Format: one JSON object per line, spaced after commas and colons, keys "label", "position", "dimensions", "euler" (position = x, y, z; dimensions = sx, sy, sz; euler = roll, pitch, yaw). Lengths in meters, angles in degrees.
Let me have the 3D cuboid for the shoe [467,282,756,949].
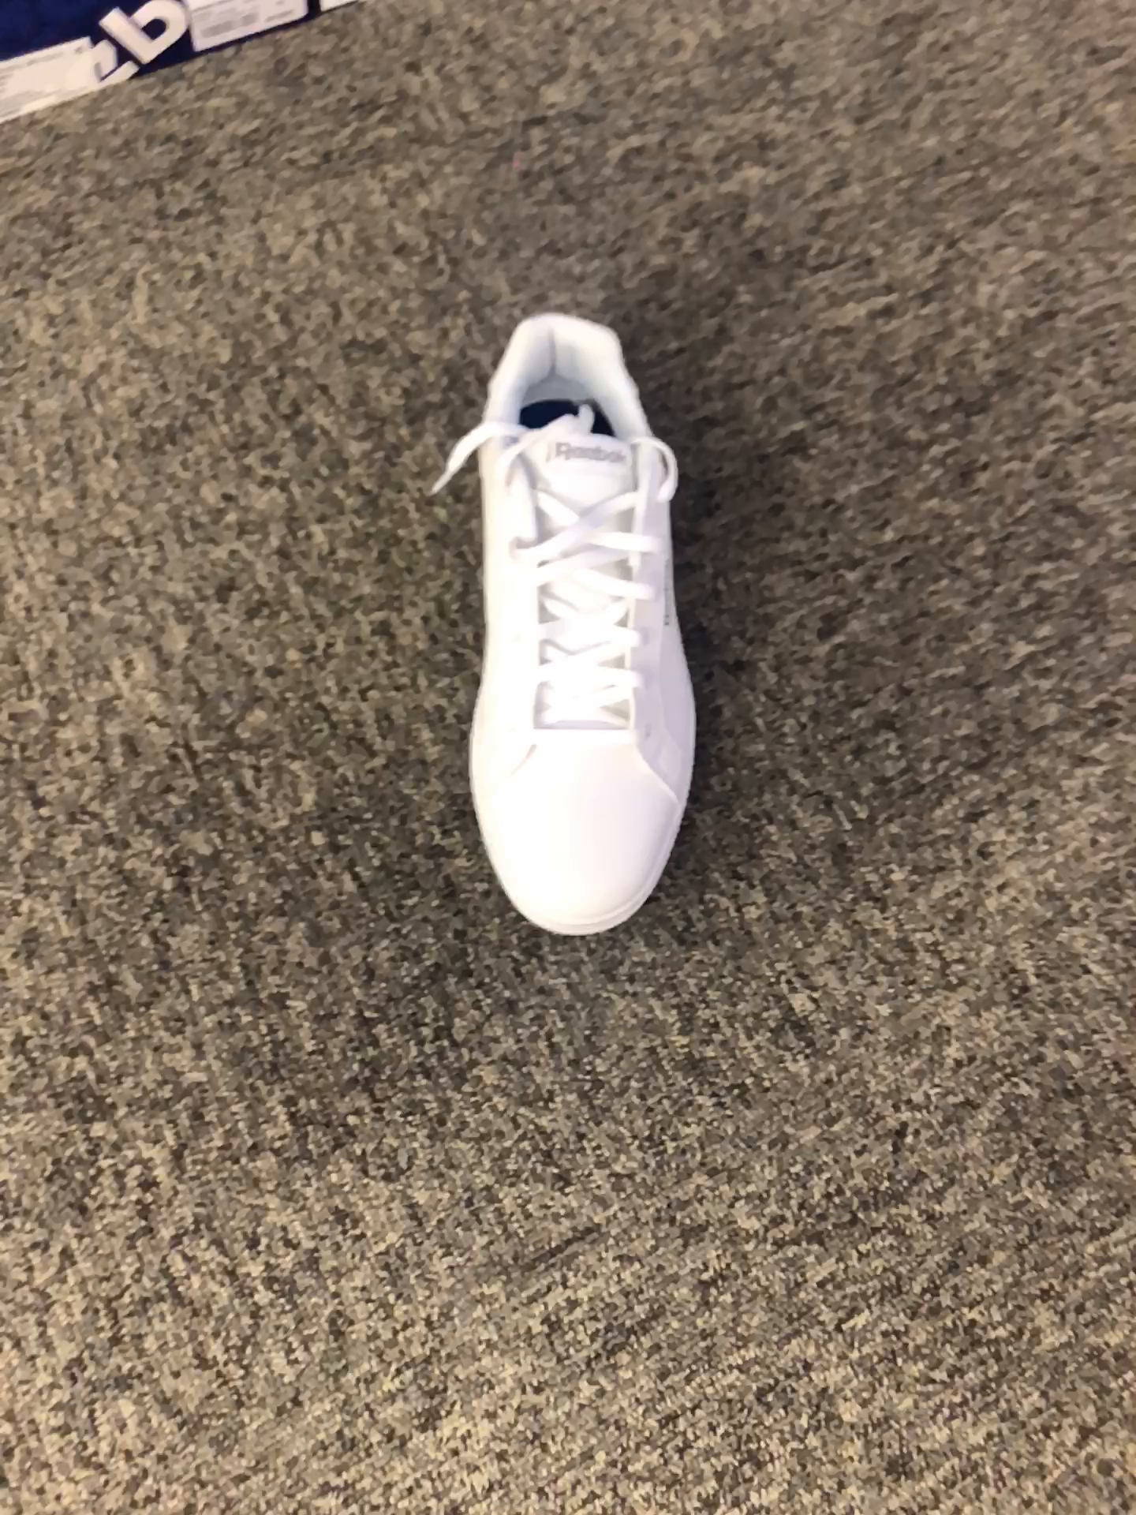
{"label": "shoe", "position": [0.010, -0.056, 0.532], "dimensions": [0.100, 0.100, 0.261], "euler": [-1, 76, -5]}
